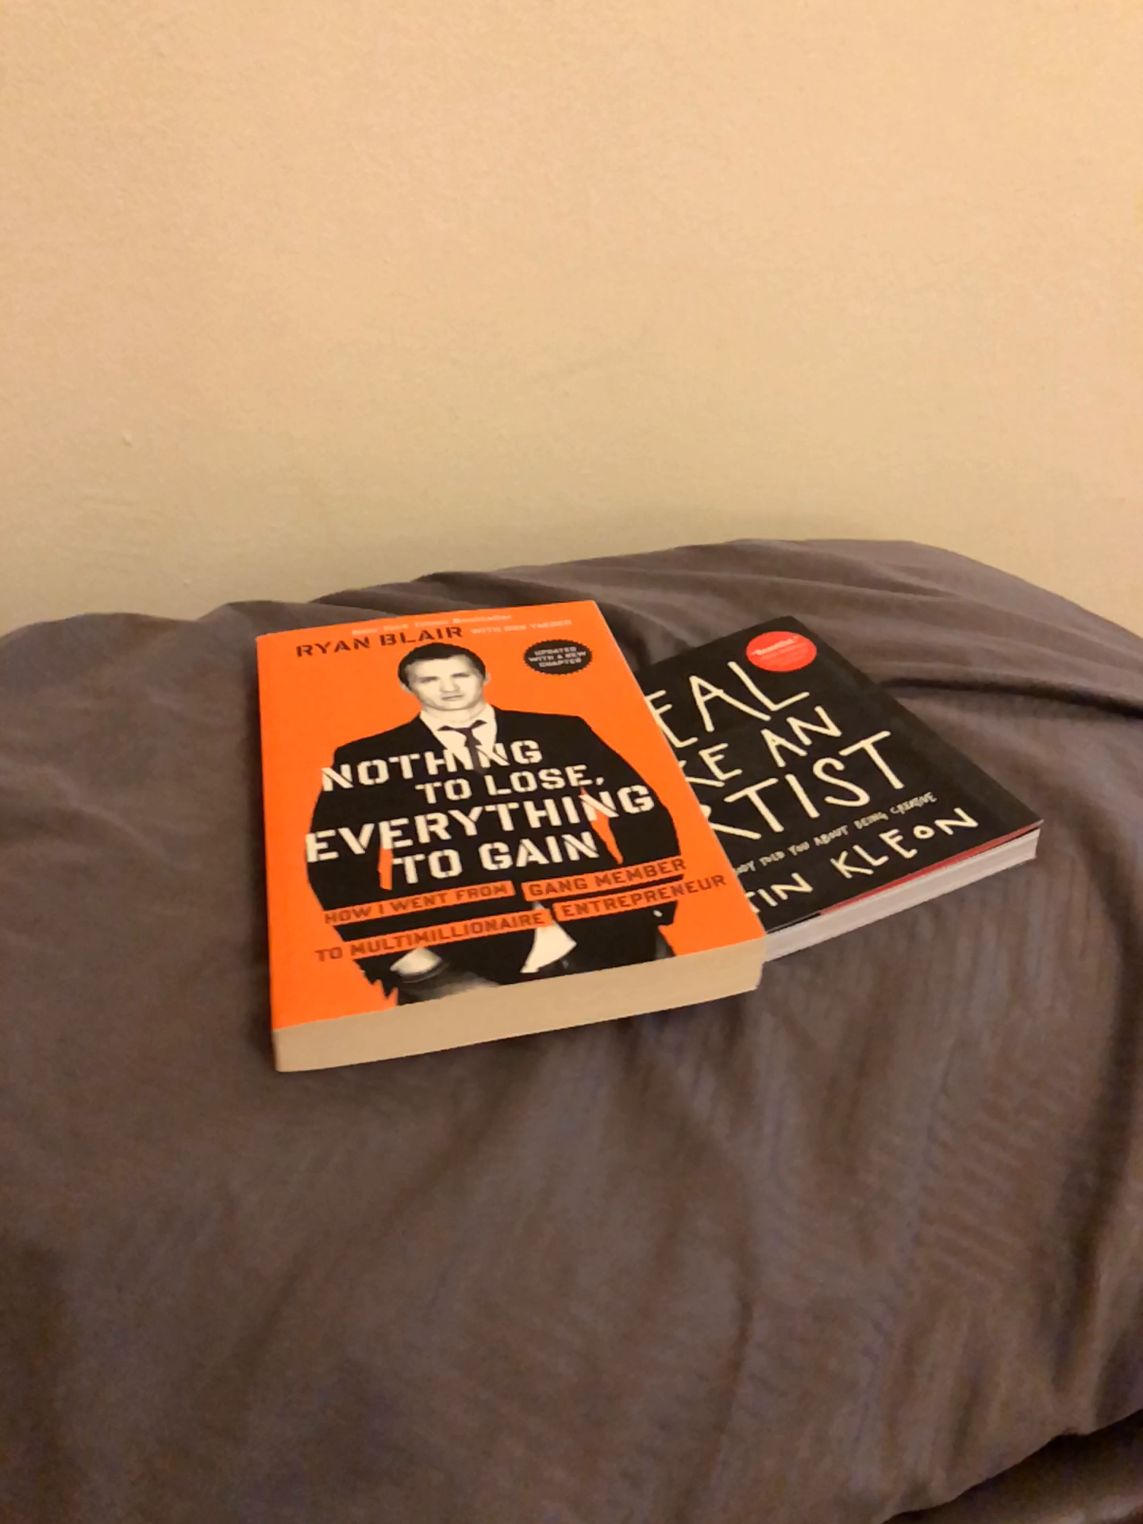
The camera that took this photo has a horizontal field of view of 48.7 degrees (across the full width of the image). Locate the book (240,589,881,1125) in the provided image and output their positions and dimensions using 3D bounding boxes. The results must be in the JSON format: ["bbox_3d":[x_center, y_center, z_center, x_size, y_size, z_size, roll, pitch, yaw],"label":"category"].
[{"bbox_3d":[-0.022,0.011,0.438,0.170,0.020,0.231,-6,38,-13],"label":"book"}]

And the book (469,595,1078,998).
[{"bbox_3d":[0.065,-0.001,0.464,0.150,0.020,0.171,-15,39,-23],"label":"book"}]
